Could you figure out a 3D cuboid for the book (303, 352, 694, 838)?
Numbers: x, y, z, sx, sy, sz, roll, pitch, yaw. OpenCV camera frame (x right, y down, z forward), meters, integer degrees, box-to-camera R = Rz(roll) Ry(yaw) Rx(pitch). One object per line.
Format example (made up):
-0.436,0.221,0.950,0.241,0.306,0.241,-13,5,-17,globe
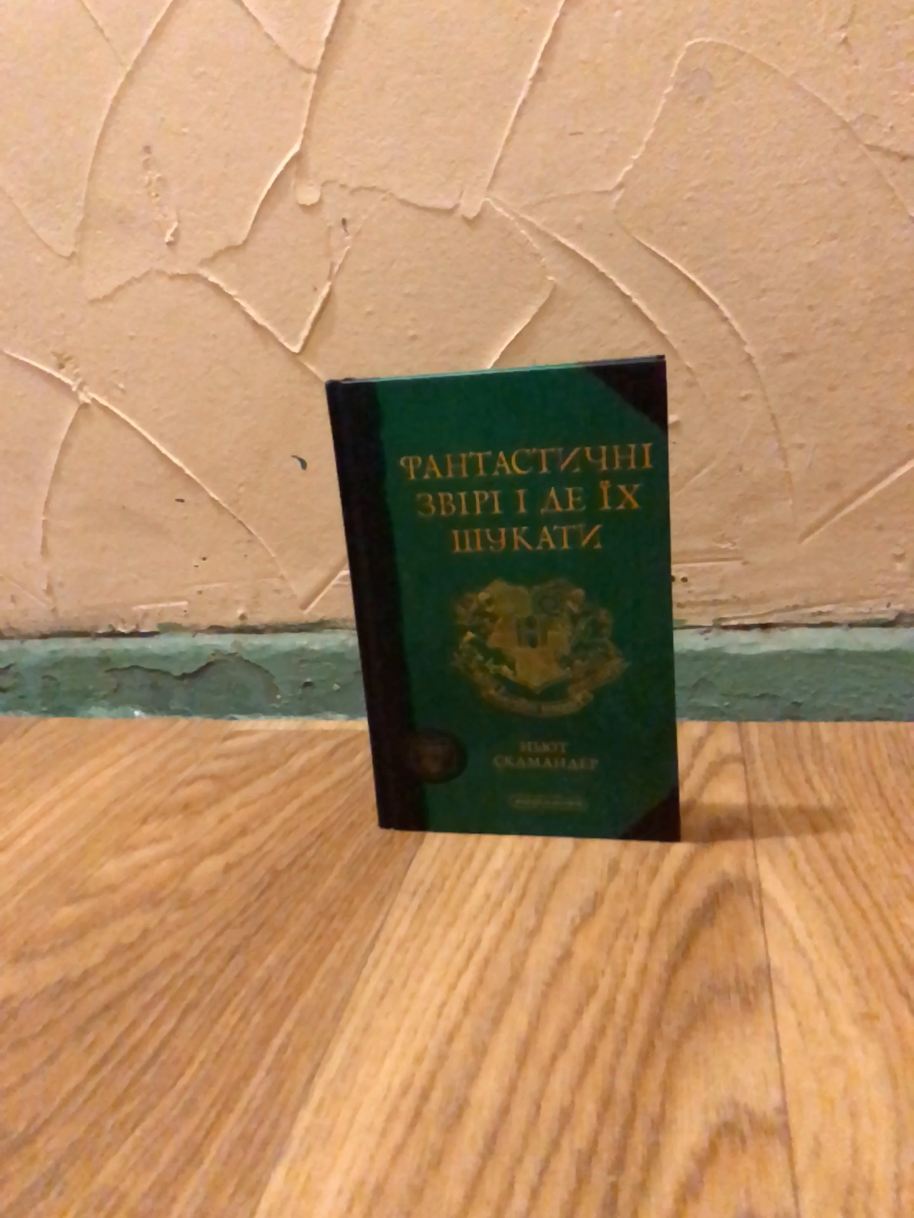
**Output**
0.021,-0.001,0.422,0.148,0.197,0.024,-1,16,15,book
